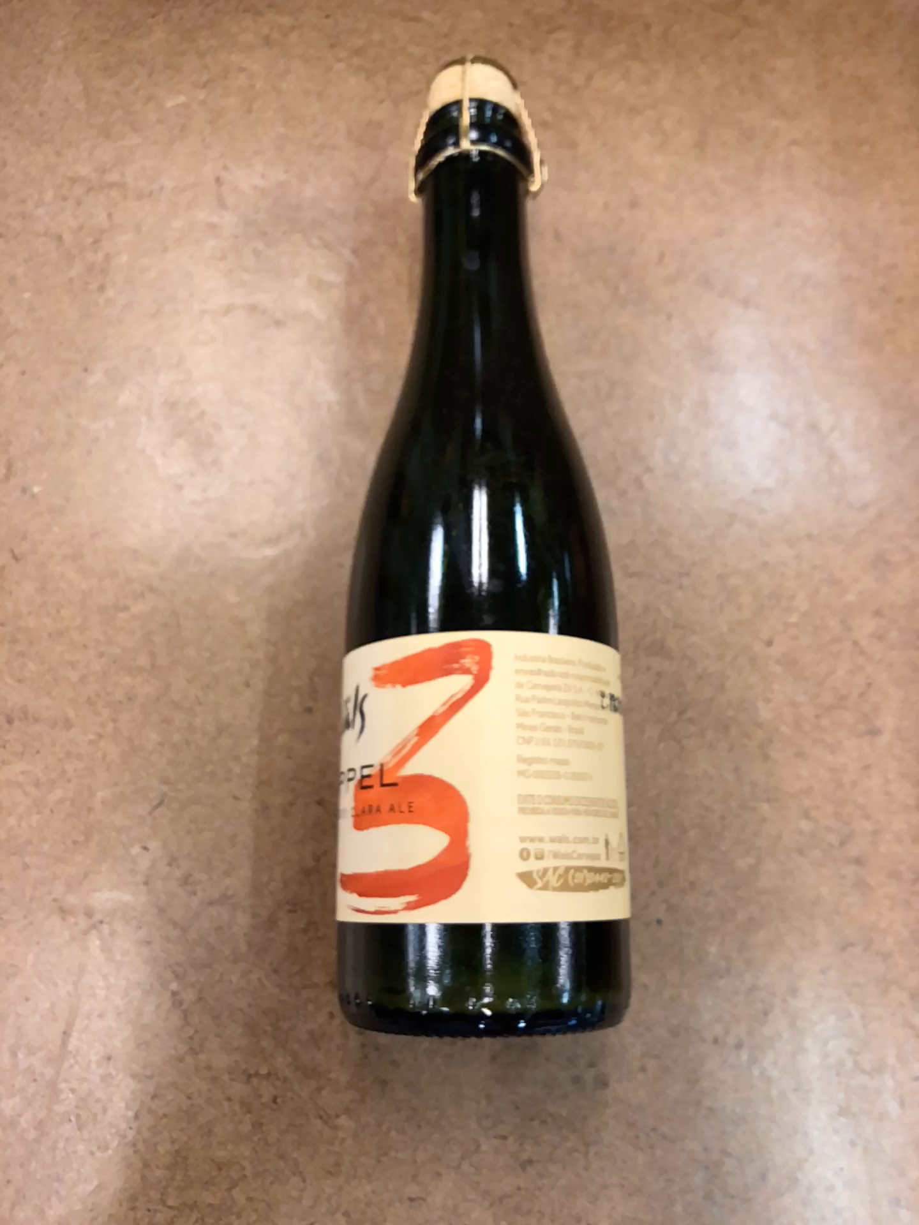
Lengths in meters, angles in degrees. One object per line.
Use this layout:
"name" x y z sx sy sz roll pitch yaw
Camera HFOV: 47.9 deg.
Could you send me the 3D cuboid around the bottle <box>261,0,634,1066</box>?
"bottle" -0.005 -0.040 0.252 0.070 0.050 0.270 2 75 -7
